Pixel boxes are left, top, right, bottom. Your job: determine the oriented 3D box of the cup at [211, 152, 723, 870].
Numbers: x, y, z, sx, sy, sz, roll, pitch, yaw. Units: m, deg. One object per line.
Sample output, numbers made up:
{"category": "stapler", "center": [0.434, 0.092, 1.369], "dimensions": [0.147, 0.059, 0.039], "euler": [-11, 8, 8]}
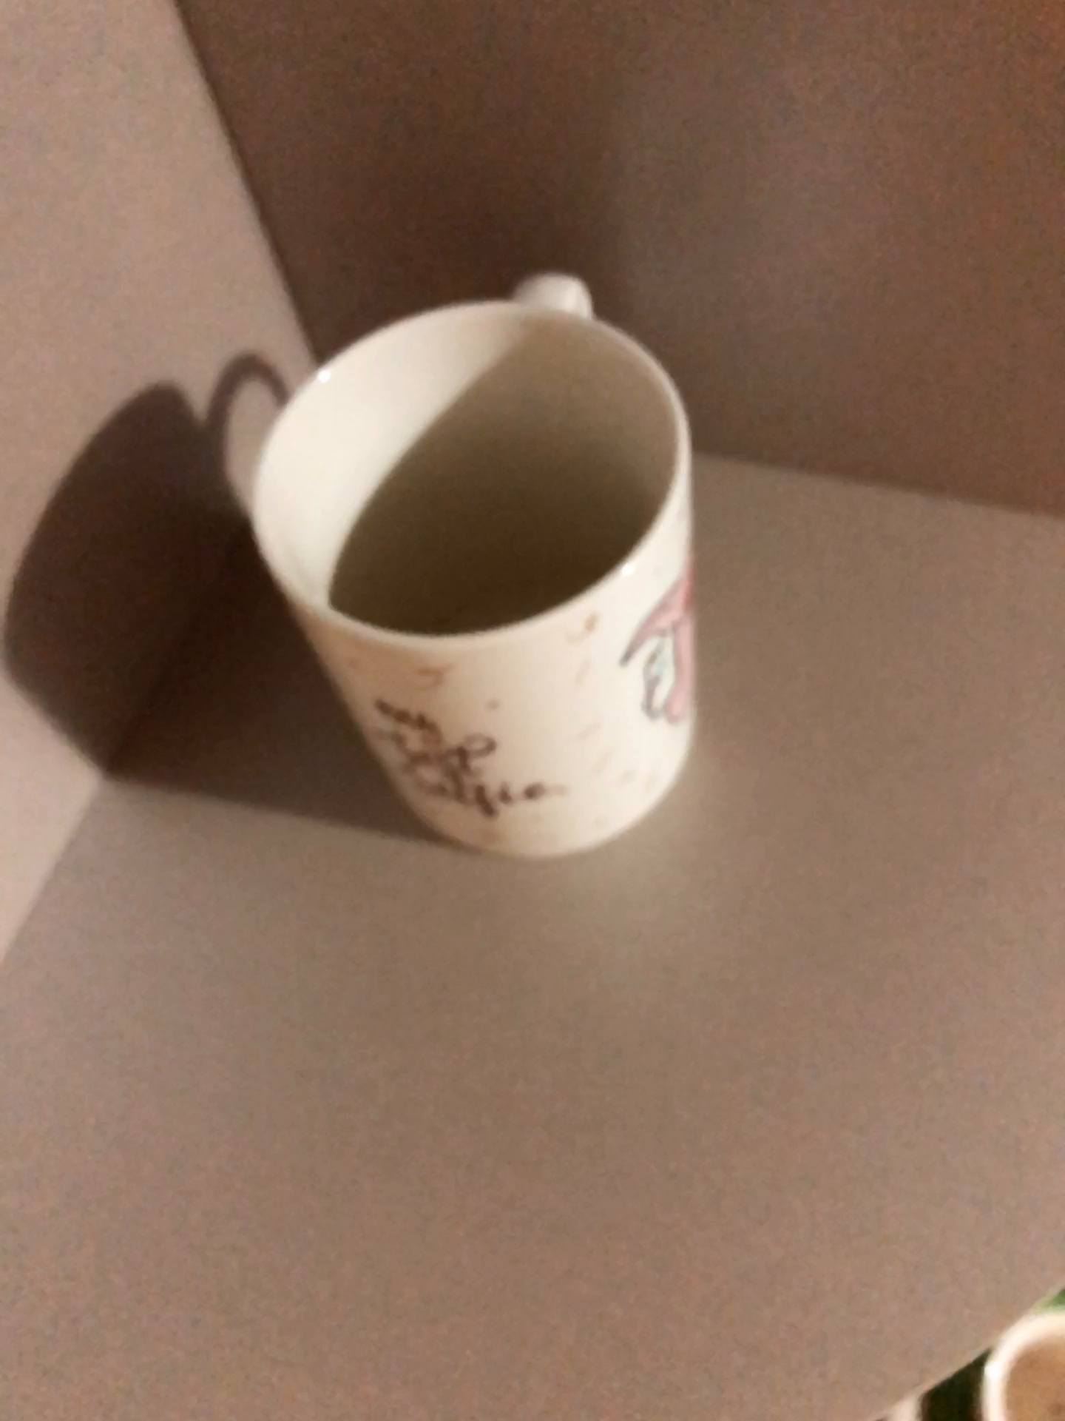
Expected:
{"category": "cup", "center": [-0.006, -0.040, 0.272], "dimensions": [0.086, 0.096, 0.119], "euler": [-4, 60, 6]}
